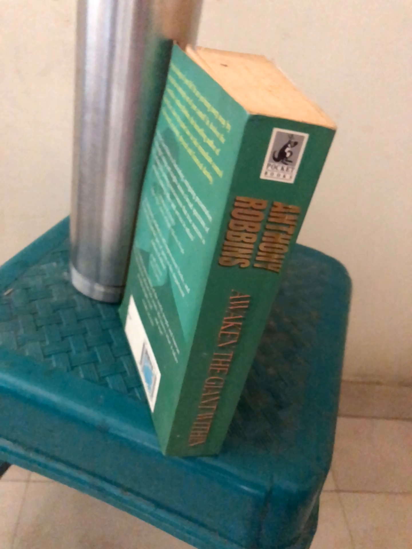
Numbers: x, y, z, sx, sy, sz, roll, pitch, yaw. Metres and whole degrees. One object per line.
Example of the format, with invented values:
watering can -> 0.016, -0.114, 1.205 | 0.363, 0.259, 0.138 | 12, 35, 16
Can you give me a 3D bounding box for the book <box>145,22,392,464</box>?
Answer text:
book -> 0.007, -0.014, 0.261 | 0.050, 0.199, 0.141 | 3, 37, -15
